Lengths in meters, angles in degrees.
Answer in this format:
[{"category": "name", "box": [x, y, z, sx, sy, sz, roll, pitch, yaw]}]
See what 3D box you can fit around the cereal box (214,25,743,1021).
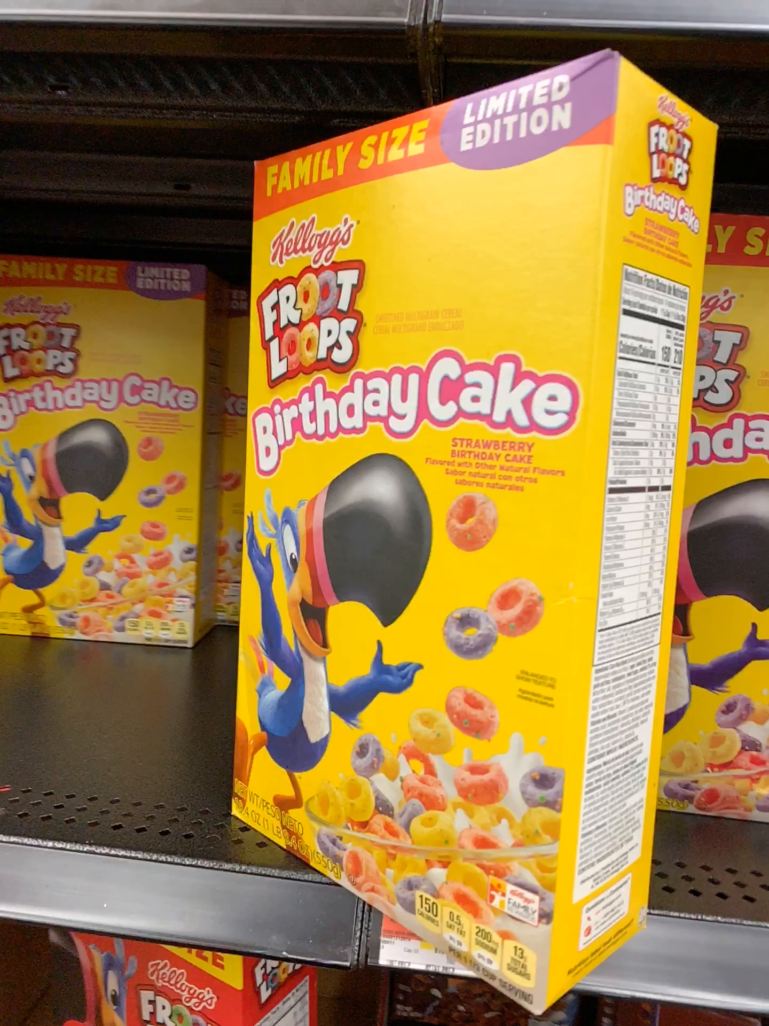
[{"category": "cereal box", "box": [0.024, -0.001, 0.356, 0.200, 0.330, 0.080, 10, 8, 43]}]
